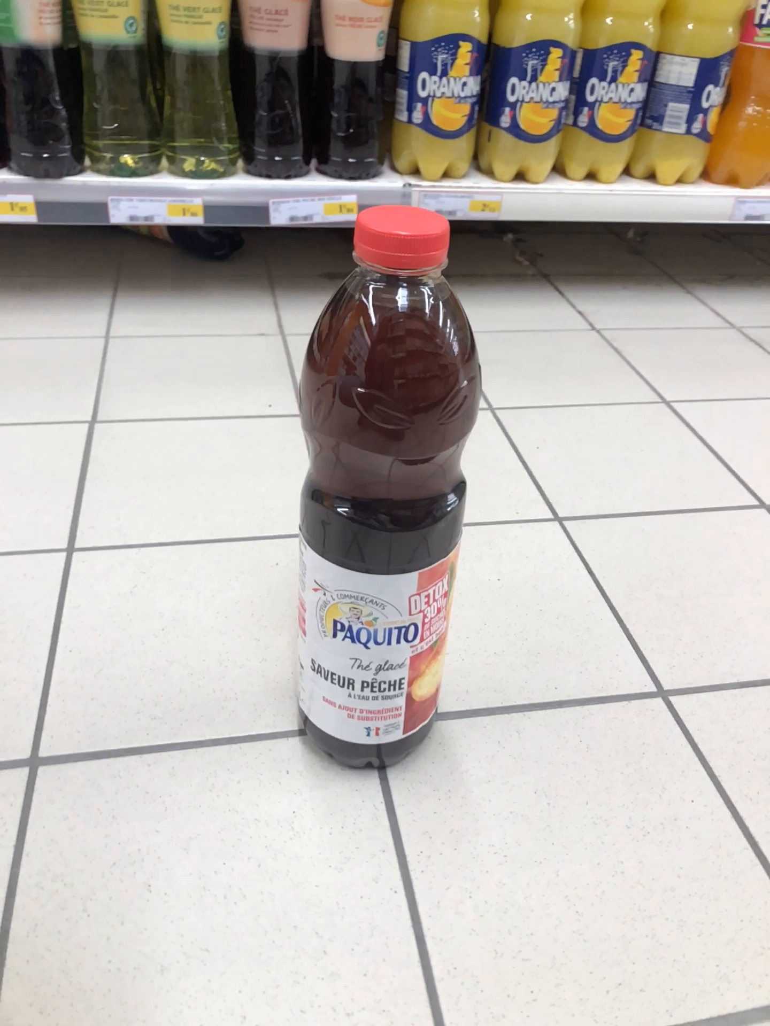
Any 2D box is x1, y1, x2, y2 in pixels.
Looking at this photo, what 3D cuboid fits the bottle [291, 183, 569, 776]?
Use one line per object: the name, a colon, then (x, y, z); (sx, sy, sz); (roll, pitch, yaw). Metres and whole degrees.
bottle: (0.006, -0.005, 0.430); (0.090, 0.288, 0.090); (3, 34, -2)
